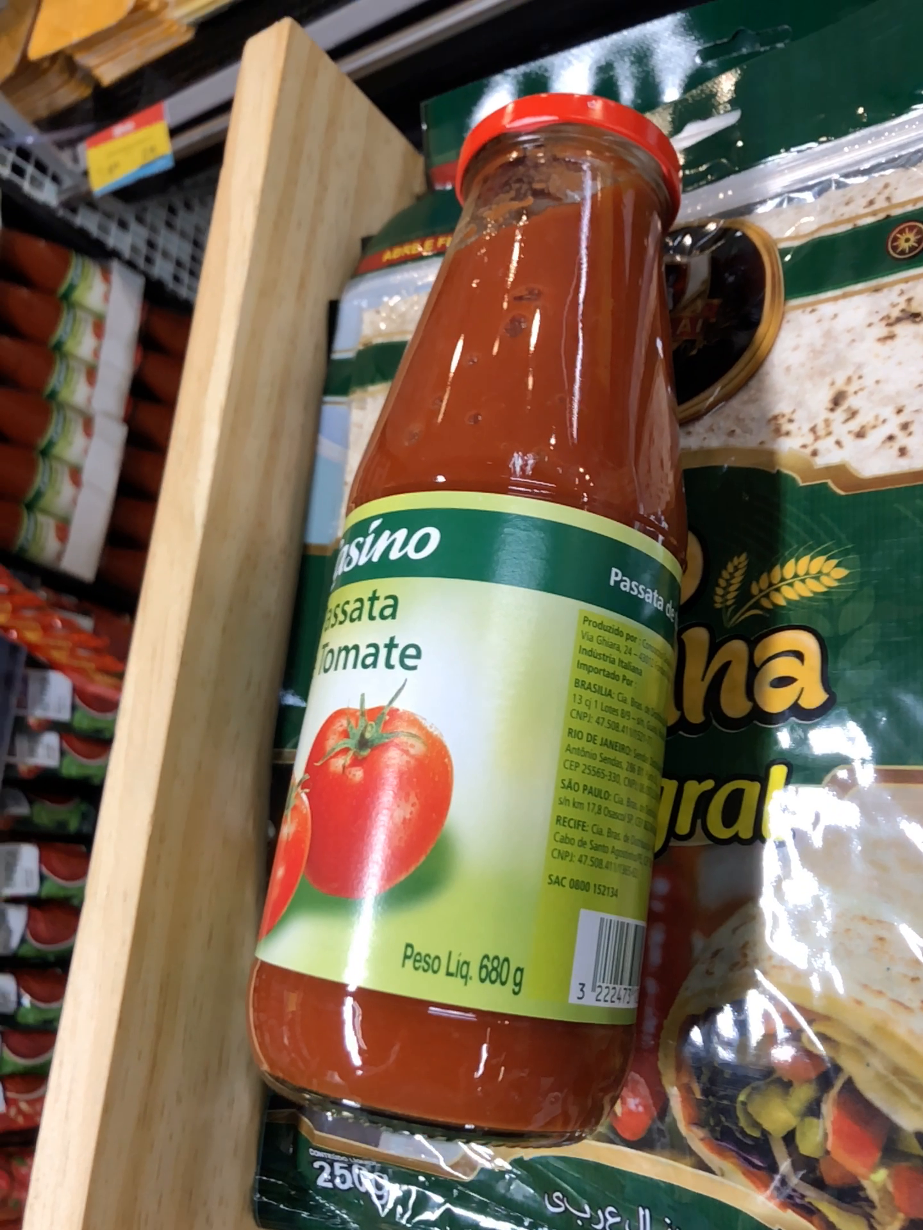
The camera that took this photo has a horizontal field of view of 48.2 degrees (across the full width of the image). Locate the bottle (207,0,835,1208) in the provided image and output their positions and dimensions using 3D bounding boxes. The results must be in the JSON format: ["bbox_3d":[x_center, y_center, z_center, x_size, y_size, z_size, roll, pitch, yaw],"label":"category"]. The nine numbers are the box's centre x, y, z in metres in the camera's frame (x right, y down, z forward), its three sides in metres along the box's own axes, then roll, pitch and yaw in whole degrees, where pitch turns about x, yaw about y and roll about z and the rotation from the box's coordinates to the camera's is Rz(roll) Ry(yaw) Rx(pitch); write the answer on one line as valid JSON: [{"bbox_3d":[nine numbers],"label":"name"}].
[{"bbox_3d":[0.017,-0.011,0.224,0.070,0.080,0.230,-14,64,60],"label":"bottle"}]
